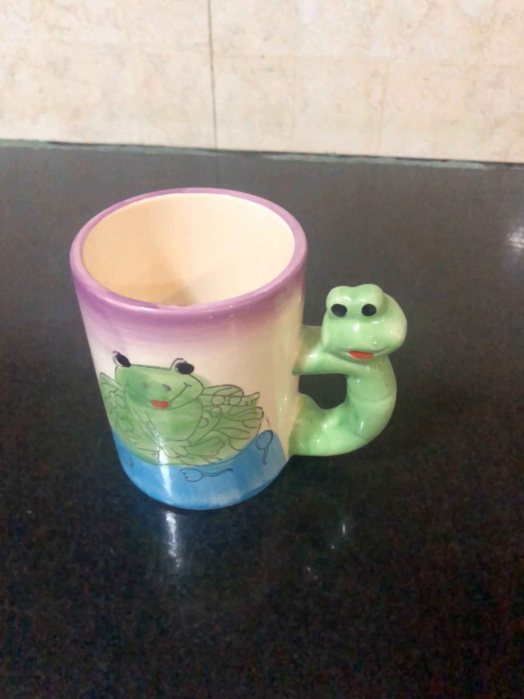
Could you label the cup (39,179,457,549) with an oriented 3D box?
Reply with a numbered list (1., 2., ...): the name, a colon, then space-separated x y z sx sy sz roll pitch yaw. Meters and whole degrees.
1. cup: -0.005 0.006 0.220 0.110 0.109 0.081 -2 40 -2
